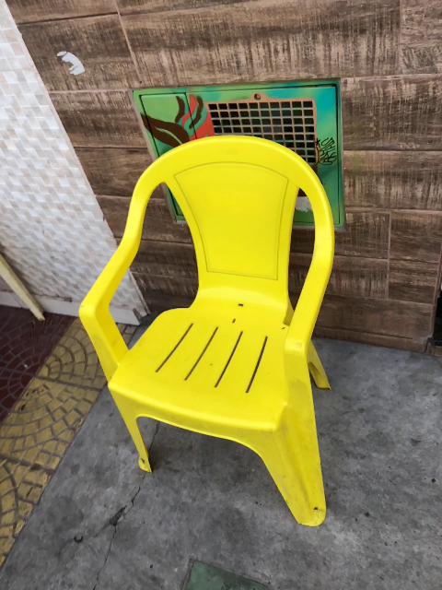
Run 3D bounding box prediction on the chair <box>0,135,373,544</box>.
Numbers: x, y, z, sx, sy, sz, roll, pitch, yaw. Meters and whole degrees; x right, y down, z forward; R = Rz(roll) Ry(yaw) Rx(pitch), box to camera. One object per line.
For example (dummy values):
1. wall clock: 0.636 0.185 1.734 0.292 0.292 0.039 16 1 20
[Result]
1. chair: -0.017 0.096 1.191 0.641 0.745 0.542 10 50 25
